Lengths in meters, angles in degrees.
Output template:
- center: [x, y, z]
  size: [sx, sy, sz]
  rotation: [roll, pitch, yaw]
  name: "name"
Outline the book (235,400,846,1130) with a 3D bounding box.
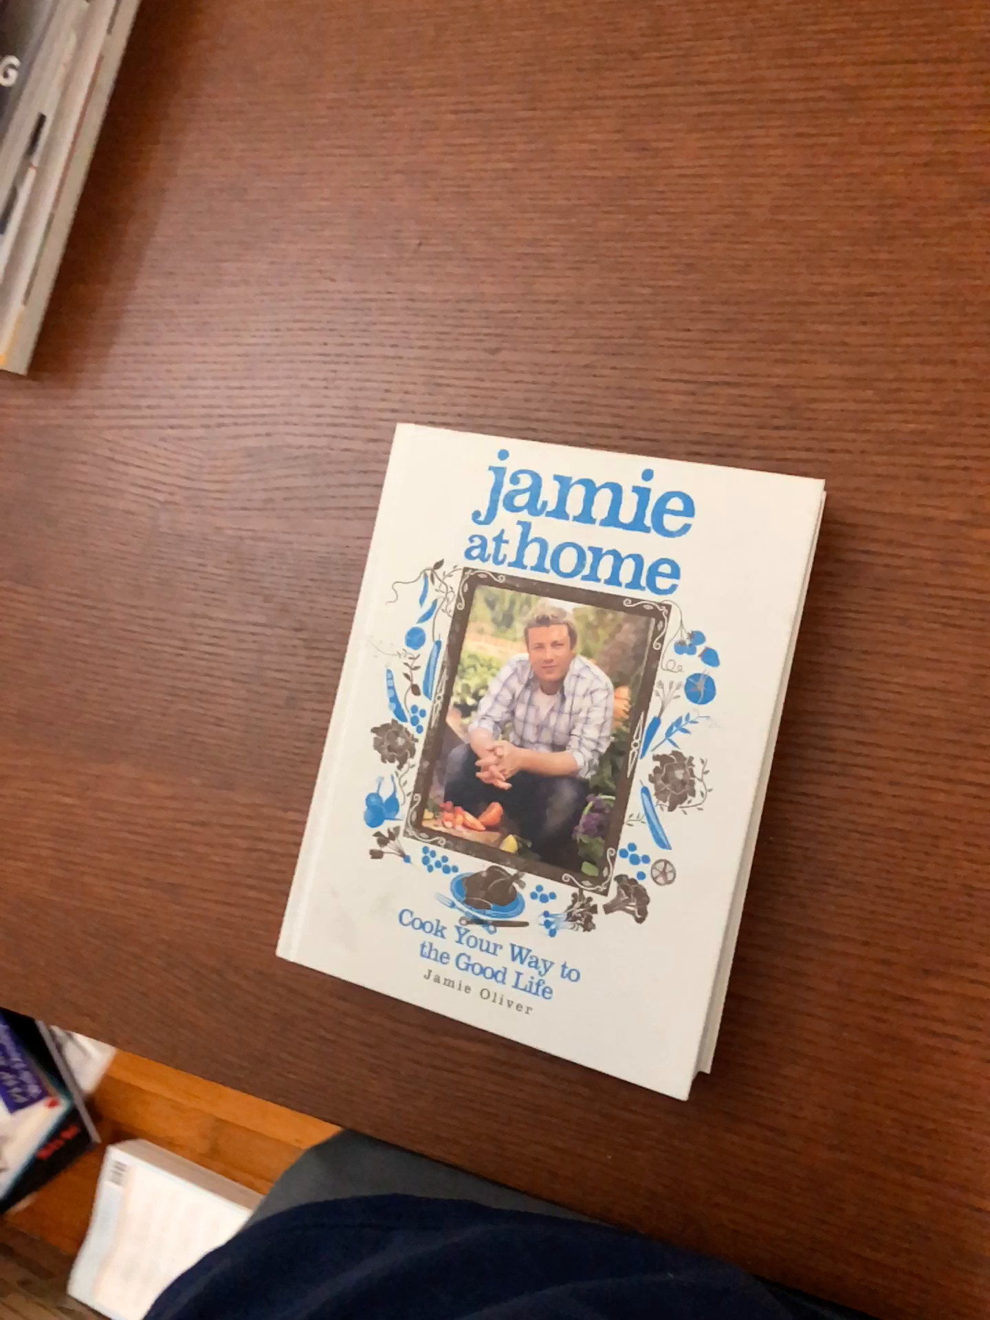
- center: [0.014, 0.031, 0.473]
  size: [0.210, 0.040, 0.260]
  rotation: [13, 89, 23]
  name: "book"
